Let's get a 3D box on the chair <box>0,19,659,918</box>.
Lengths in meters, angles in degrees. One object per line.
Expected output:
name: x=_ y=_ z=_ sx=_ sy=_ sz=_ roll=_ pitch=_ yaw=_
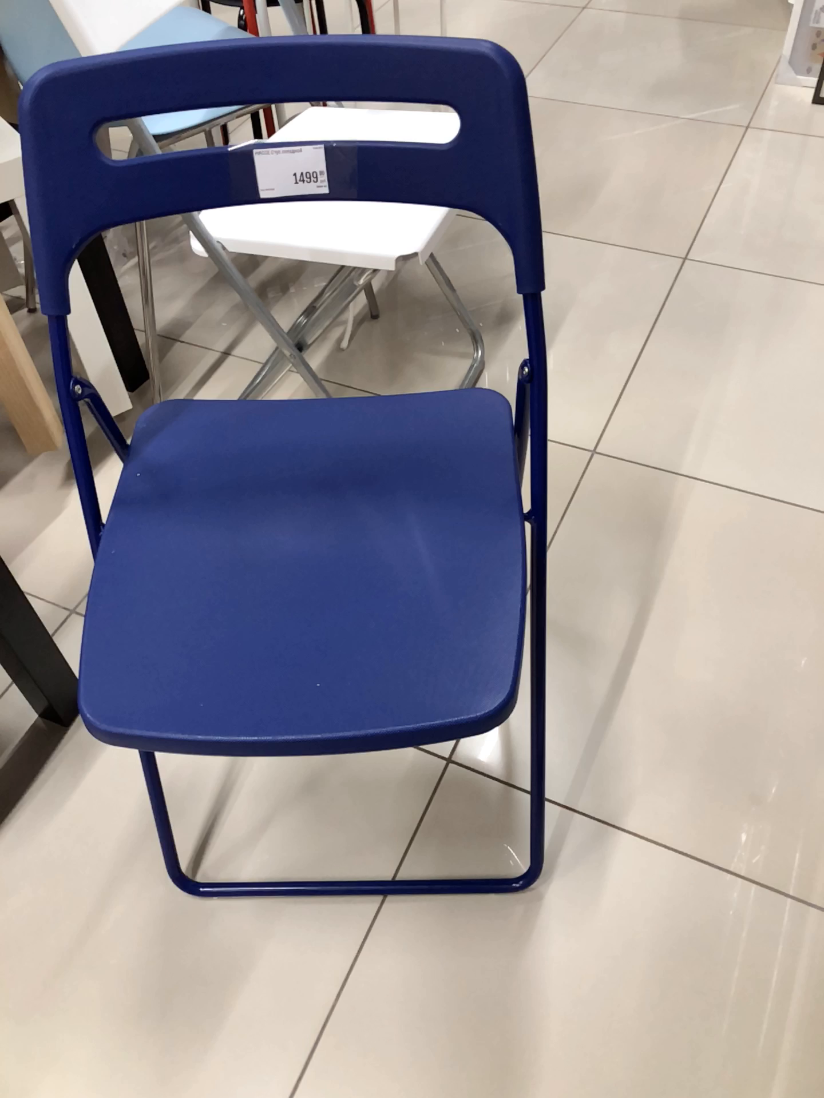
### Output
chair: x=-0.087 y=-0.012 z=0.847 sx=0.450 sy=0.705 sz=0.468 roll=-2 pitch=49 yaw=3
